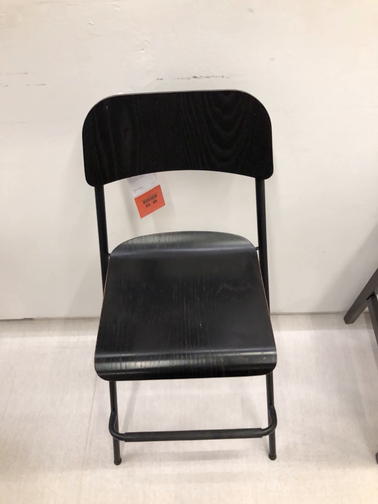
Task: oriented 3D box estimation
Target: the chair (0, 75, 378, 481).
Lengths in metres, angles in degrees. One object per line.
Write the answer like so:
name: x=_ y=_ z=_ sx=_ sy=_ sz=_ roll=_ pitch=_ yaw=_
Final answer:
chair: x=-0.015 y=0.155 z=0.948 sx=0.490 sy=0.885 sz=0.473 roll=-3 pitch=50 yaw=1
